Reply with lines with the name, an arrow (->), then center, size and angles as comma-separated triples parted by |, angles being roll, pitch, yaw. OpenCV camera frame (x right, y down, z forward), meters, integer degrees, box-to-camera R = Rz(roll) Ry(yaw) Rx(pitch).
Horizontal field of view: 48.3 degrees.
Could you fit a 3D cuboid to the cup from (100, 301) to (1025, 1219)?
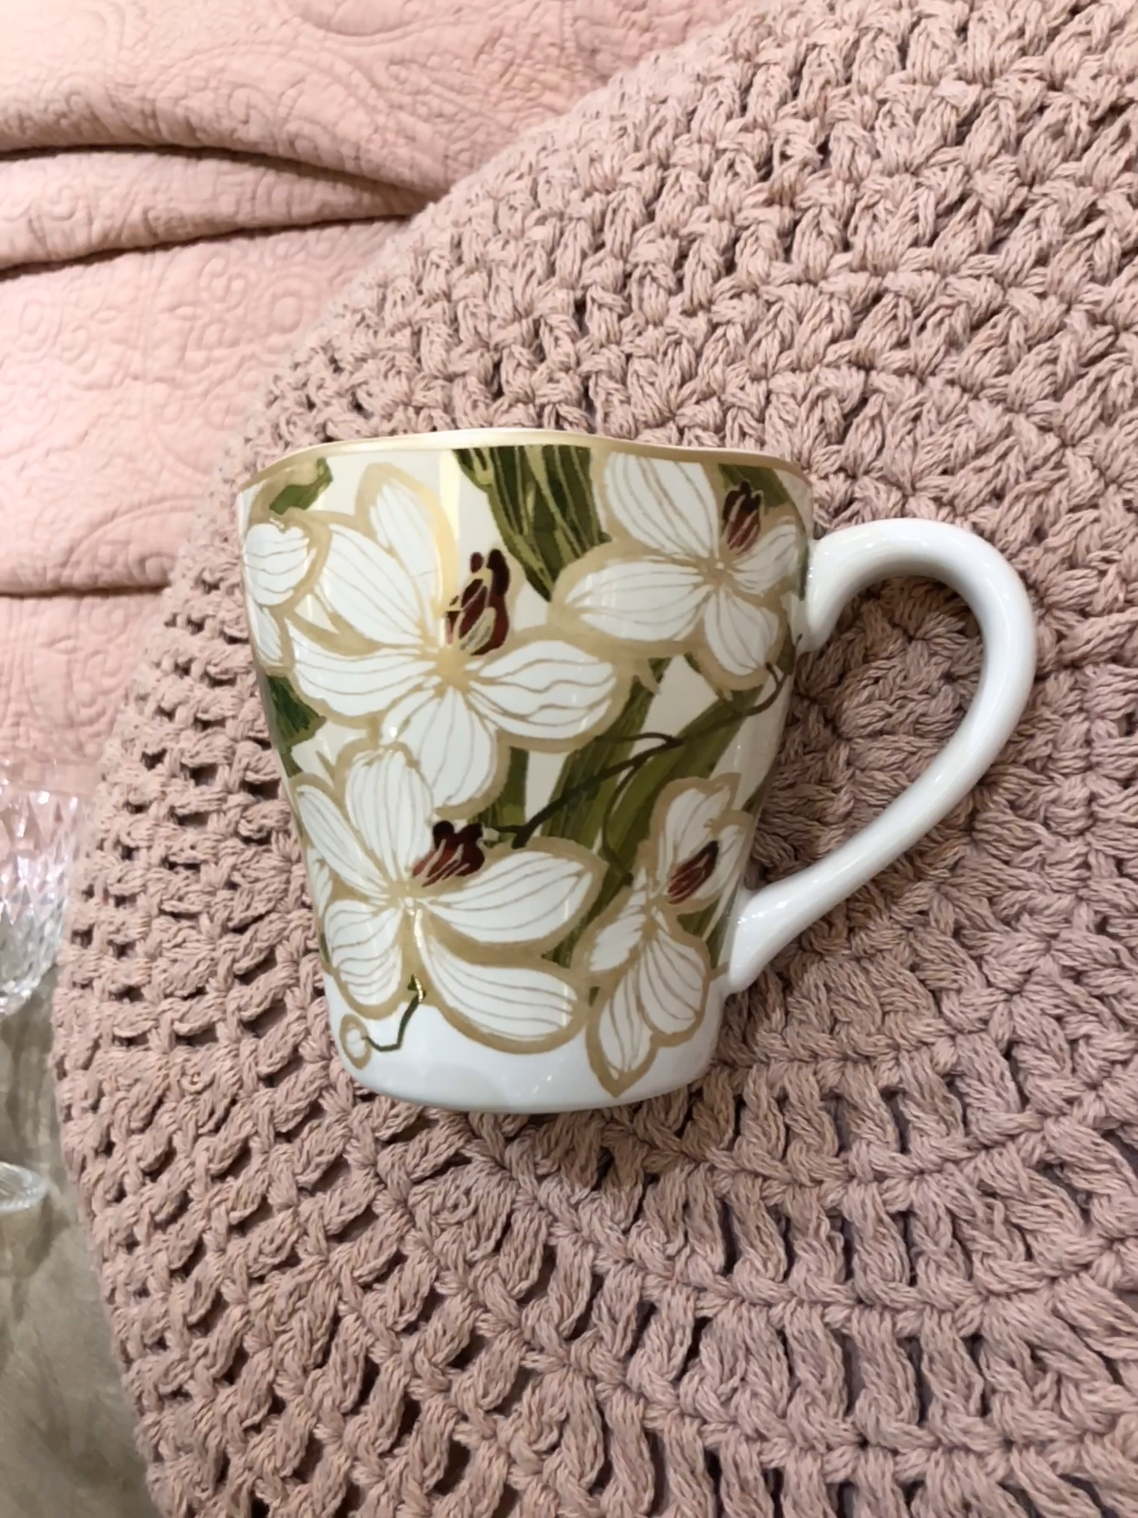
cup -> 0.005, 0.000, 0.230 | 0.140, 0.090, 0.120 | -1, 91, 18
